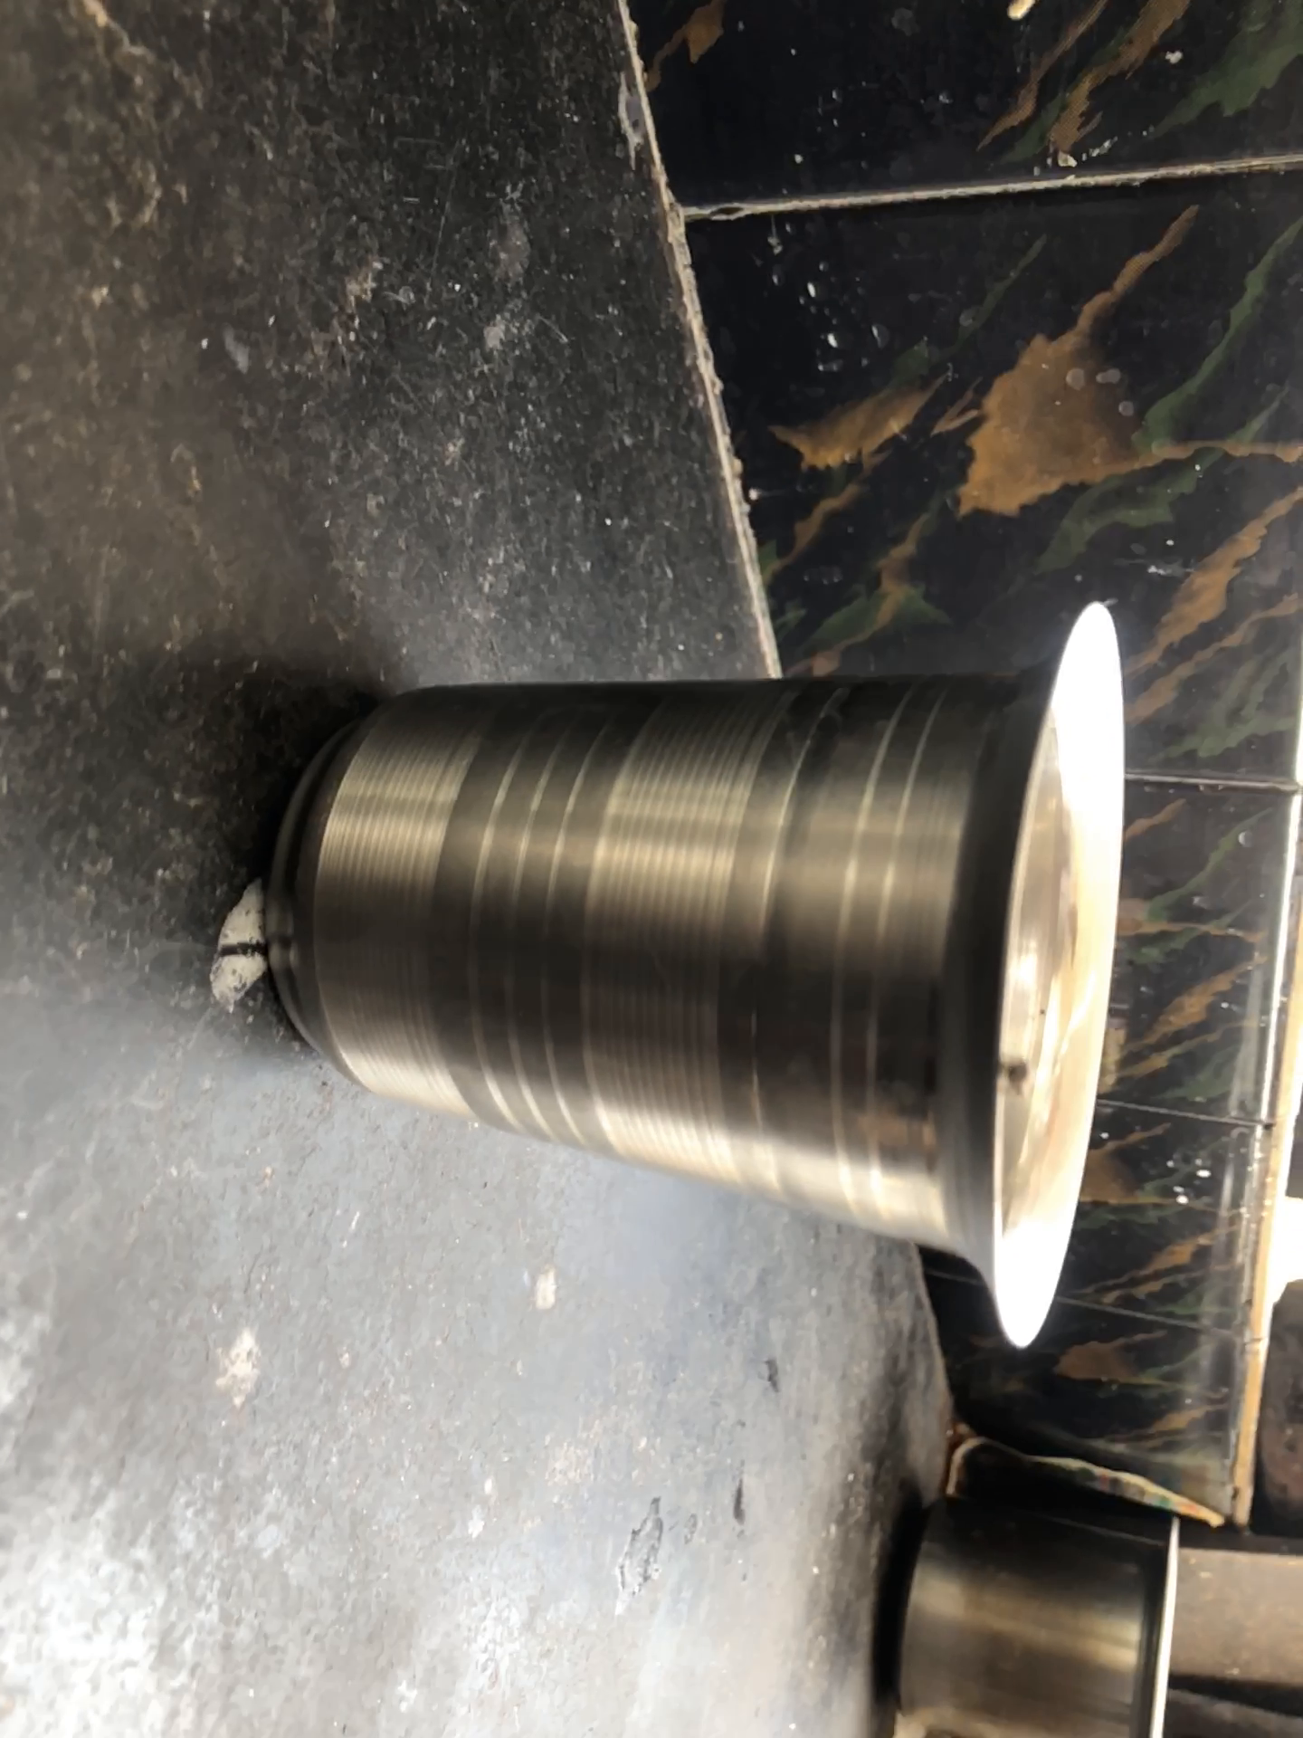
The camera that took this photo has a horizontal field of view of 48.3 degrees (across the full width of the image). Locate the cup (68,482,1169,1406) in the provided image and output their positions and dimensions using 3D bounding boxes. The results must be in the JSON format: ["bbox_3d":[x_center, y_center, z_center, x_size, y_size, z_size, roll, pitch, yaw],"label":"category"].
[{"bbox_3d":[0.008,0.012,0.202,0.091,0.109,0.090,6,90,-67],"label":"cup"}]
